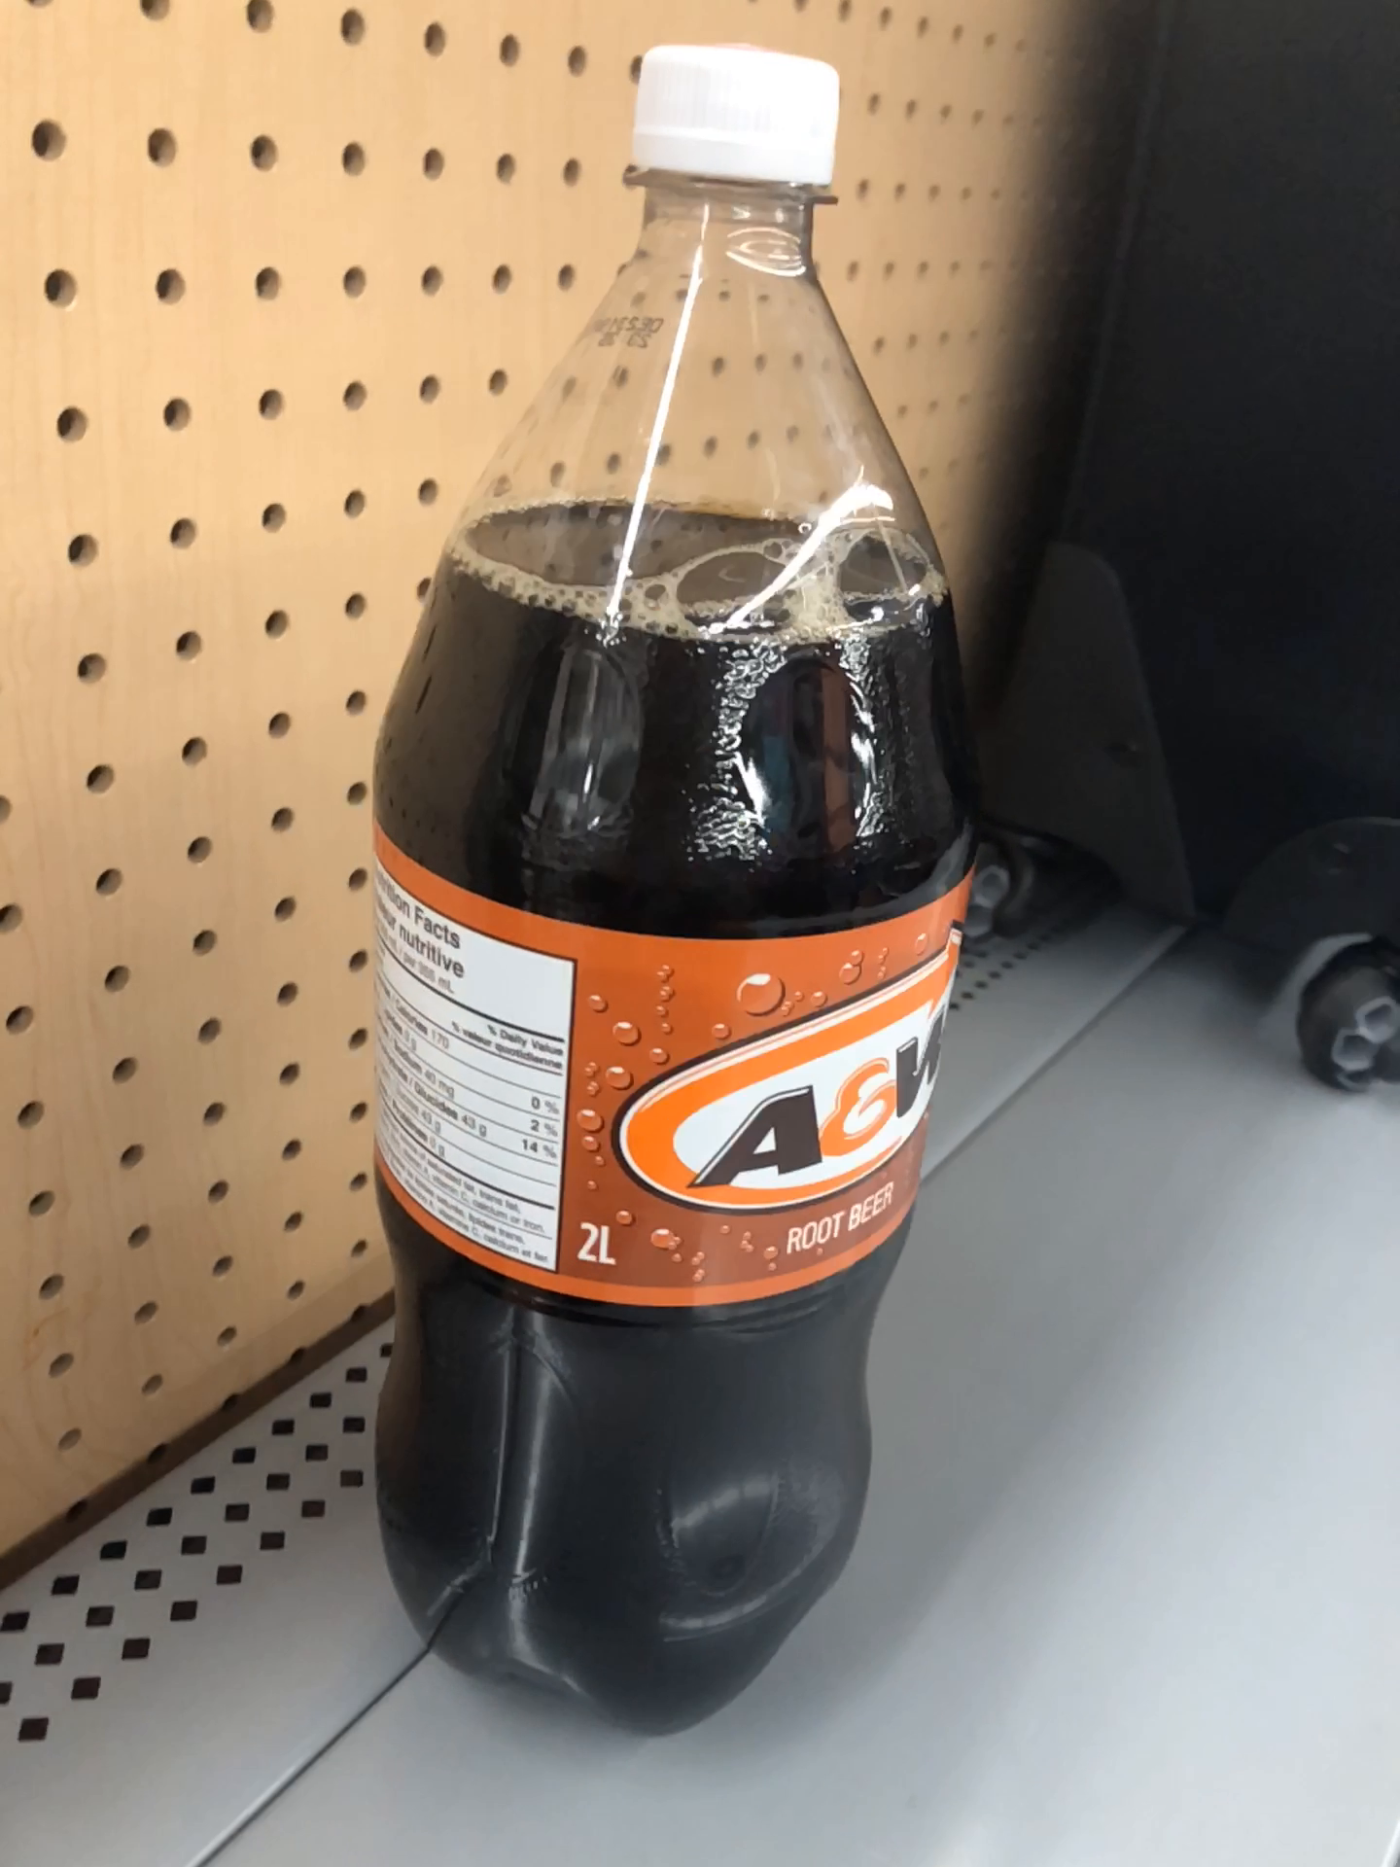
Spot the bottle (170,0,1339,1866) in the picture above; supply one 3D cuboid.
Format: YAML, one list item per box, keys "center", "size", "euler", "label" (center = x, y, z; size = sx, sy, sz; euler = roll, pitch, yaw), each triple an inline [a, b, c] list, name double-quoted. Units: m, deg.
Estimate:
- center: [-0.006, 0.002, 0.293]
  size: [0.120, 0.308, 0.121]
  euler: [5, 27, -2]
  label: "bottle"
